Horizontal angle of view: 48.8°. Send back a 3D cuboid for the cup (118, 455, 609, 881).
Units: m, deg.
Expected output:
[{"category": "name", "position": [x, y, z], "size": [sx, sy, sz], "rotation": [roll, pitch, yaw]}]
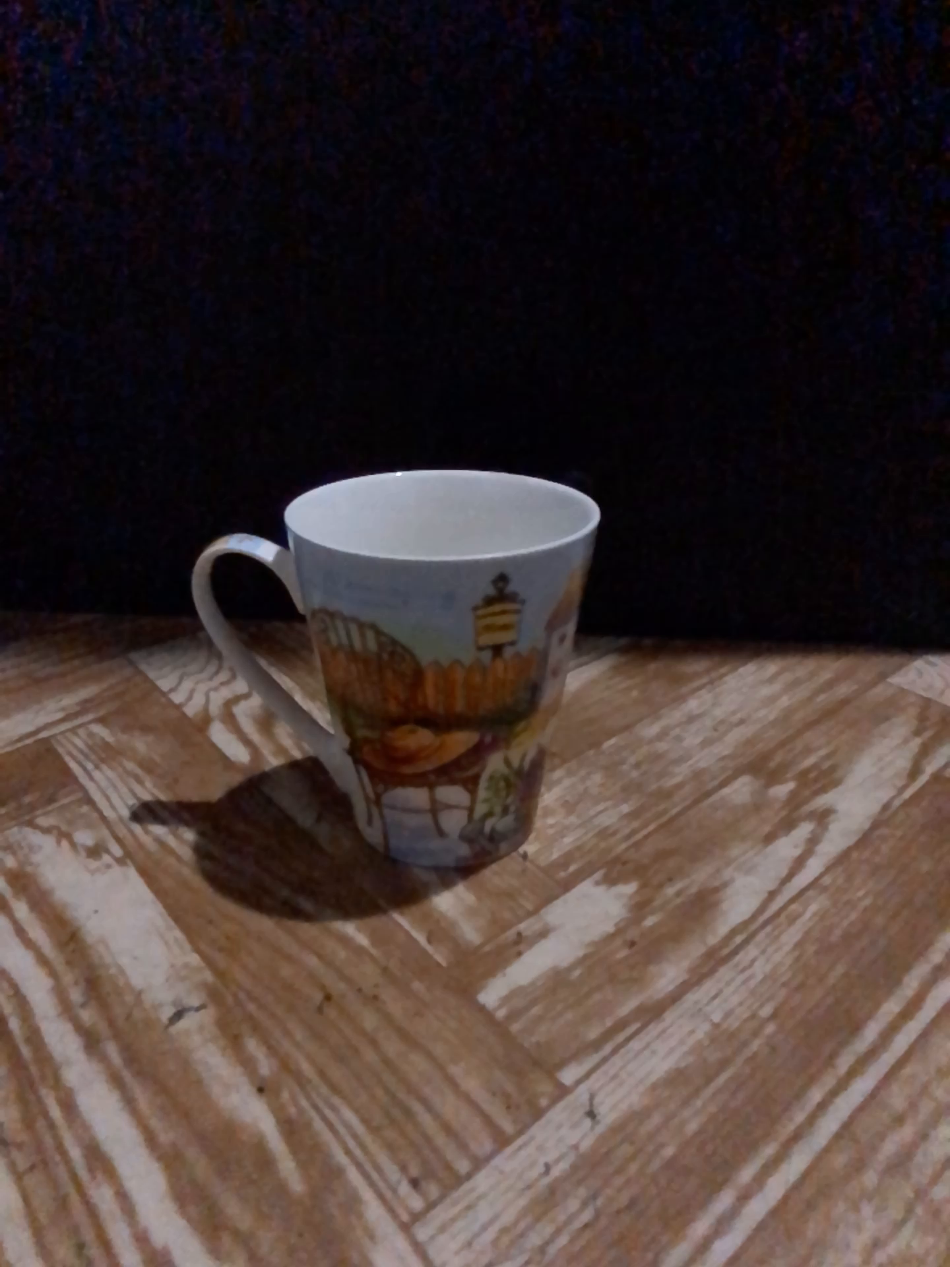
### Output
[{"category": "cup", "position": [-0.024, 0.004, 0.310], "size": [0.120, 0.092, 0.087], "rotation": [2, 23, 5]}]
